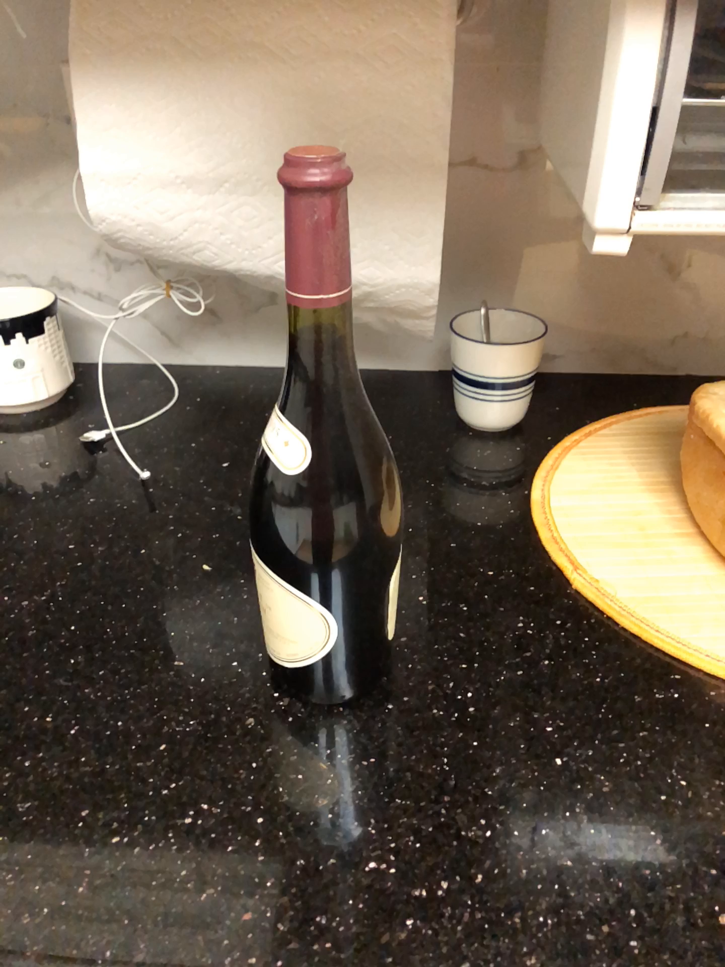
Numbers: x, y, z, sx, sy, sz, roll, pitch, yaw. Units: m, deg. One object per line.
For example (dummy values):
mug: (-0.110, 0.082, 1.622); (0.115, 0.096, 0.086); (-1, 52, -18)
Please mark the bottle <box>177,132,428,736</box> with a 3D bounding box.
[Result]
bottle: (-0.029, -0.014, 0.433); (0.090, 0.308, 0.090); (0, 32, 0)
